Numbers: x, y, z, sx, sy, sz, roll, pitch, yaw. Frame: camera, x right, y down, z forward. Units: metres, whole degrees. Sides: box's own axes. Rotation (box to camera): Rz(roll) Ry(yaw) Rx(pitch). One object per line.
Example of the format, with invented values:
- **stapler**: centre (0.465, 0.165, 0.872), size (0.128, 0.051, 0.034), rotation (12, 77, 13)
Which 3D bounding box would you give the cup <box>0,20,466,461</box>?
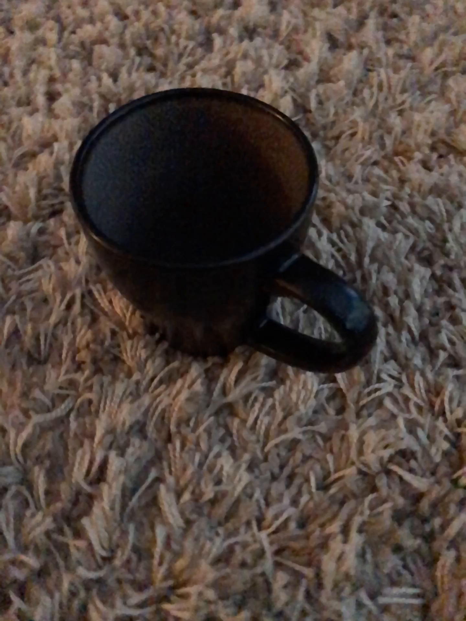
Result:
- **cup**: centre (-0.002, -0.031, 0.215), size (0.090, 0.090, 0.140), rotation (-41, 65, -19)
